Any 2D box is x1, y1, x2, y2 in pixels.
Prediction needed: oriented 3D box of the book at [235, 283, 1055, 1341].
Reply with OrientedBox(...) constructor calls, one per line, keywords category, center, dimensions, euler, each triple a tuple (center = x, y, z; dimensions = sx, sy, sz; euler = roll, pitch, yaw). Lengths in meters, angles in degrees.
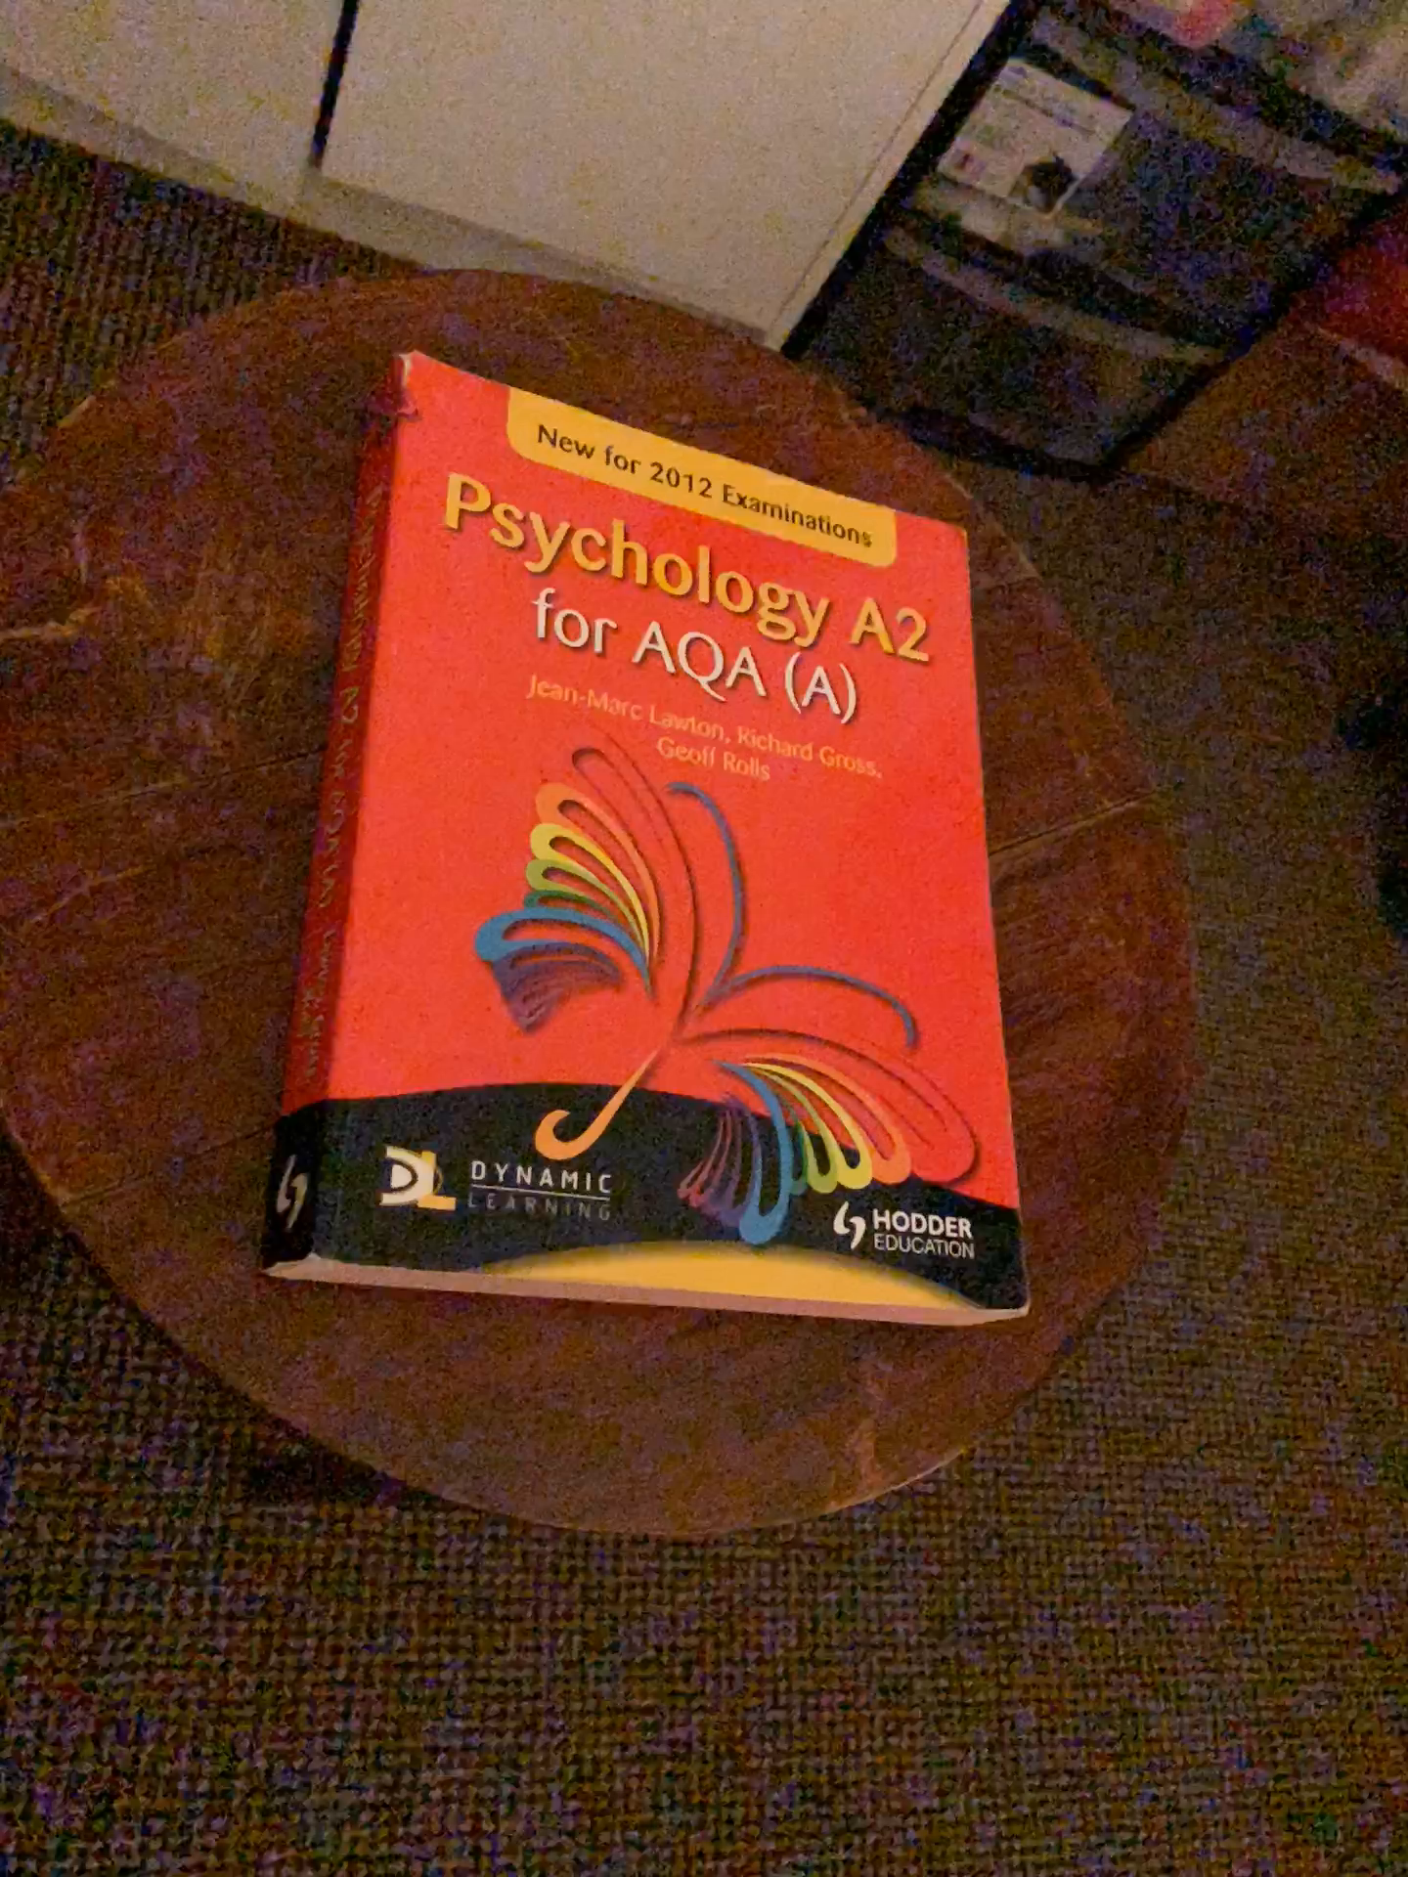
OrientedBox(category="book", center=(-0.008, -0.039, 0.429), dimensions=(0.210, 0.040, 0.291), euler=(10, 64, -22))
